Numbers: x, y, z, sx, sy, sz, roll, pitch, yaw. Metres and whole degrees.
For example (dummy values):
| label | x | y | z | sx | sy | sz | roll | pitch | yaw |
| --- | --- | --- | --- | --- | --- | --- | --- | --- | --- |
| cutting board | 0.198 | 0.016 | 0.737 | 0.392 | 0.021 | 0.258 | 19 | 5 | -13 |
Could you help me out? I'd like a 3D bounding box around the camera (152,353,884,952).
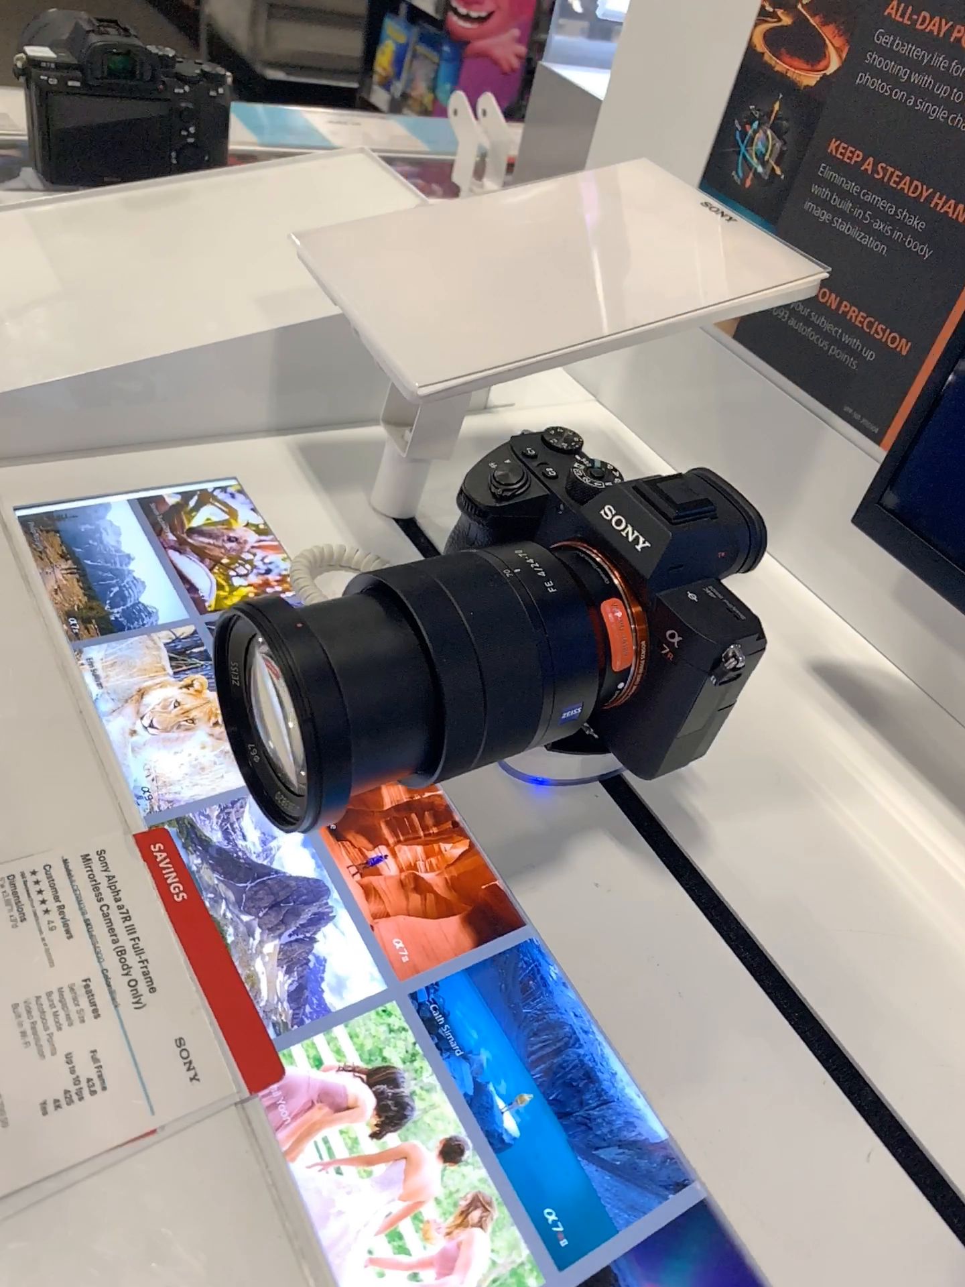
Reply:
| label | x | y | z | sx | sy | sz | roll | pitch | yaw |
| --- | --- | --- | --- | --- | --- | --- | --- | --- | --- |
| camera | 0.007 | -0.014 | 0.340 | 0.193 | 0.099 | 0.130 | -17 | 49 | -33 |
